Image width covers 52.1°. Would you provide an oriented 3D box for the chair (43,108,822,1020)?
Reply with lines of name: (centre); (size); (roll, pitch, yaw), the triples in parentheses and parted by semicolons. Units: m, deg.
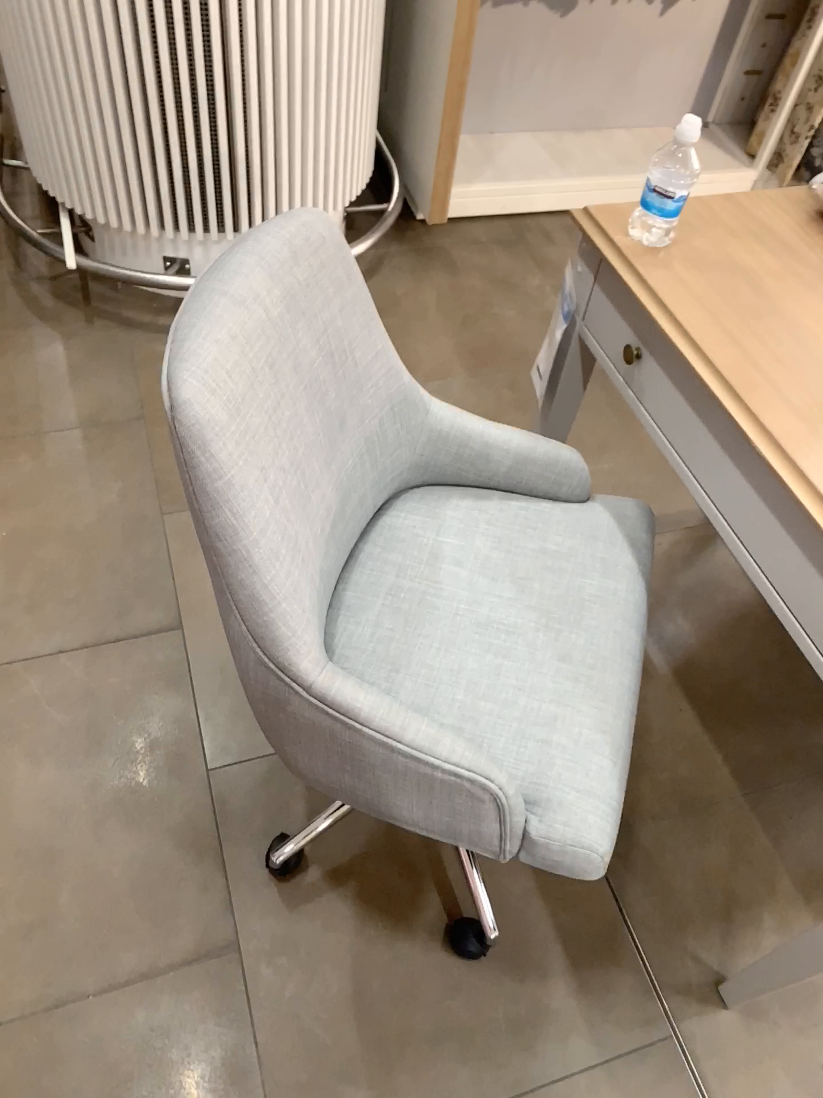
chair: (0.085, 0.077, 1.109); (0.635, 0.892, 0.629); (18, 51, 7)
